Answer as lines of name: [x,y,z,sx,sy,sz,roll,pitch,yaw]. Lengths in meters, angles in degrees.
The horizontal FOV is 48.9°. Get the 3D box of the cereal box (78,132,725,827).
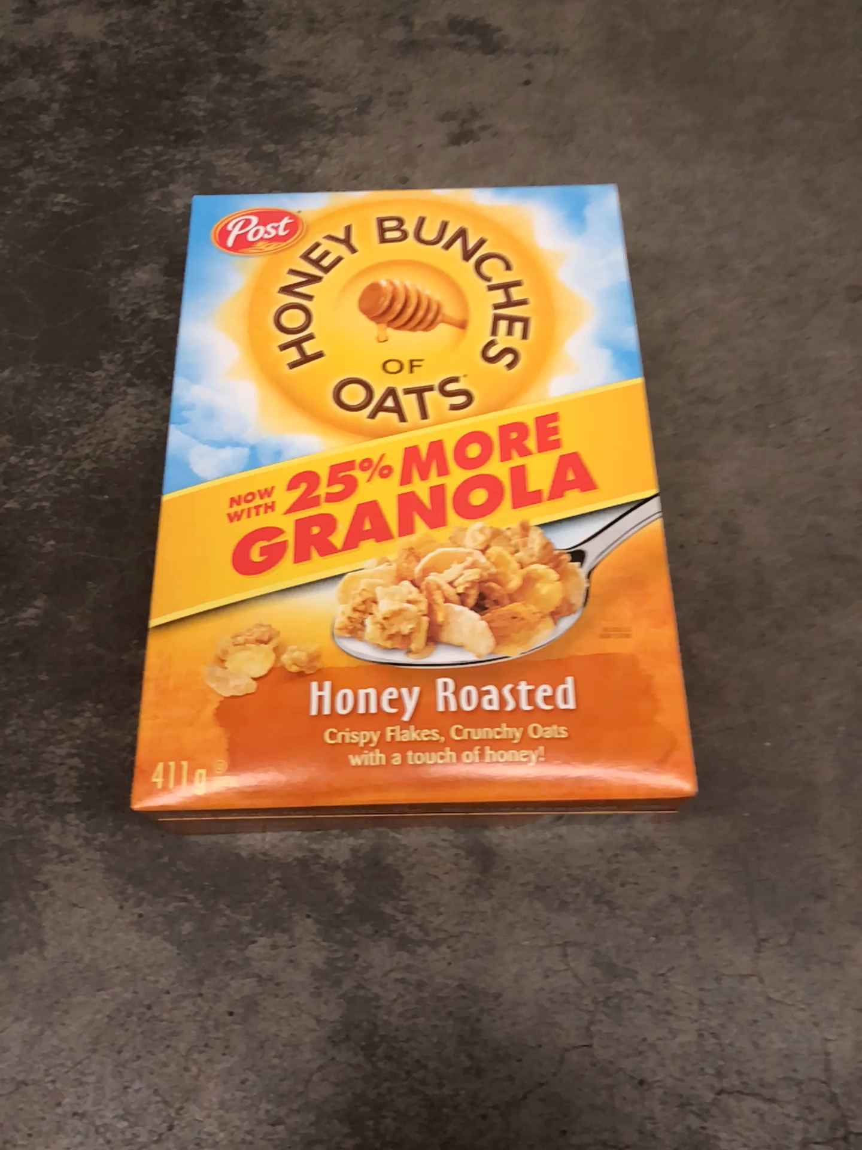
cereal box: [-0.012,-0.046,0.387,0.210,0.060,0.281,0,69,-4]
